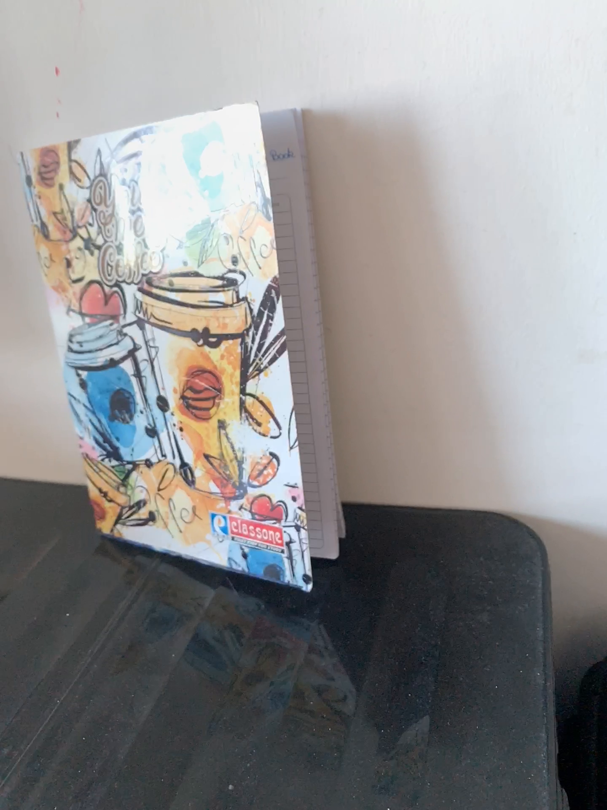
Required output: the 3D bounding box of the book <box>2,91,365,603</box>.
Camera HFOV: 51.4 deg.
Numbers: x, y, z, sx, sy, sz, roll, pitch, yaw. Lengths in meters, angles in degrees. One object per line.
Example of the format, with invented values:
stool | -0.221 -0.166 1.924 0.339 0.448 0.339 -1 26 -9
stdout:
book | -0.078 -0.032 0.431 0.220 0.299 0.050 5 21 28
